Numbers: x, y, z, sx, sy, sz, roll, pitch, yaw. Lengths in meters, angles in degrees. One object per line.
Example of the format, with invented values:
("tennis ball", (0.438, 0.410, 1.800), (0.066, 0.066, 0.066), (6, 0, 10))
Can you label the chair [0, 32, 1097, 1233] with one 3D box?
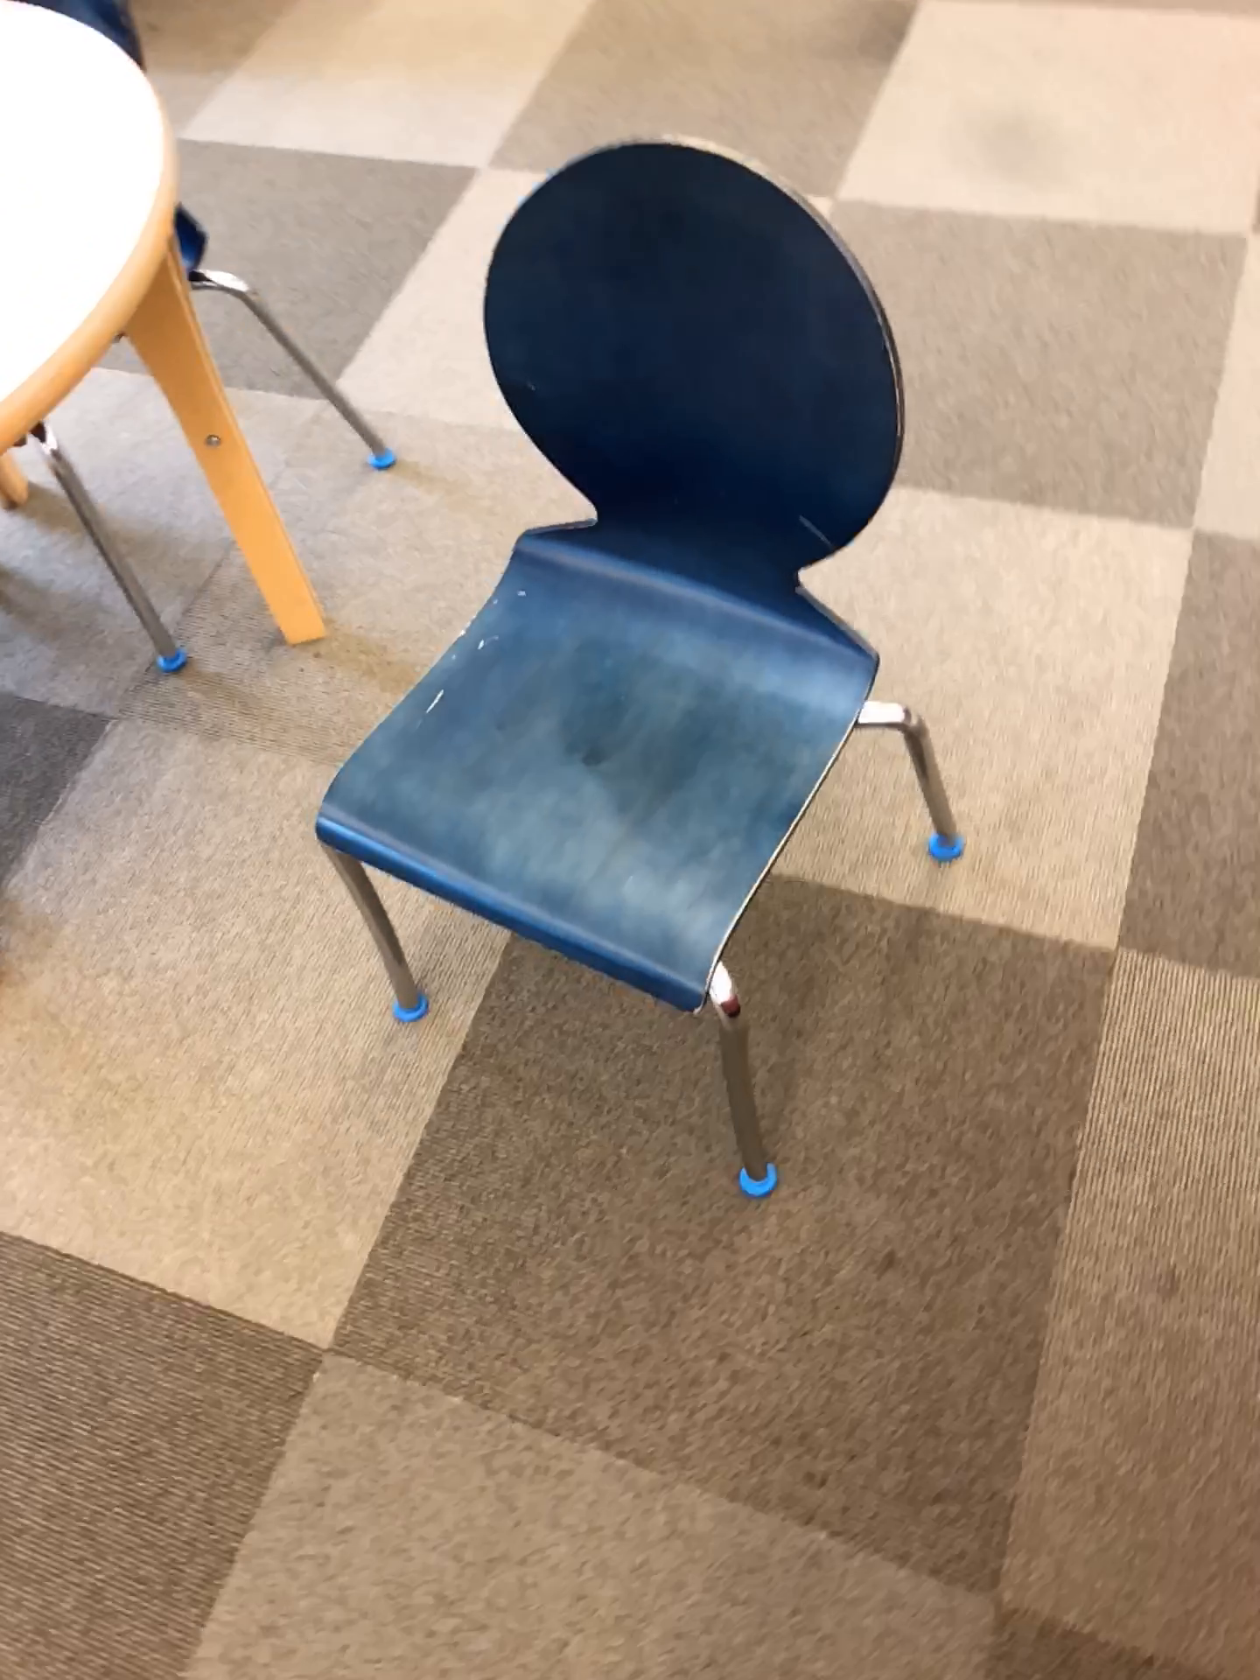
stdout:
("chair", (-0.014, -0.123, 1.089), (0.498, 0.699, 0.475), (22, 62, 21))
